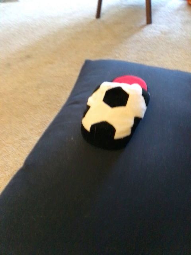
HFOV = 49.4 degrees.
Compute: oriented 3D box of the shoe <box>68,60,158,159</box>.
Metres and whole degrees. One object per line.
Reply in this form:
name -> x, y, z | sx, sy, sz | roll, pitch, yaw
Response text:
shoe -> 0.048, -0.052, 0.436 | 0.108, 0.072, 0.214 | 15, 47, 20
